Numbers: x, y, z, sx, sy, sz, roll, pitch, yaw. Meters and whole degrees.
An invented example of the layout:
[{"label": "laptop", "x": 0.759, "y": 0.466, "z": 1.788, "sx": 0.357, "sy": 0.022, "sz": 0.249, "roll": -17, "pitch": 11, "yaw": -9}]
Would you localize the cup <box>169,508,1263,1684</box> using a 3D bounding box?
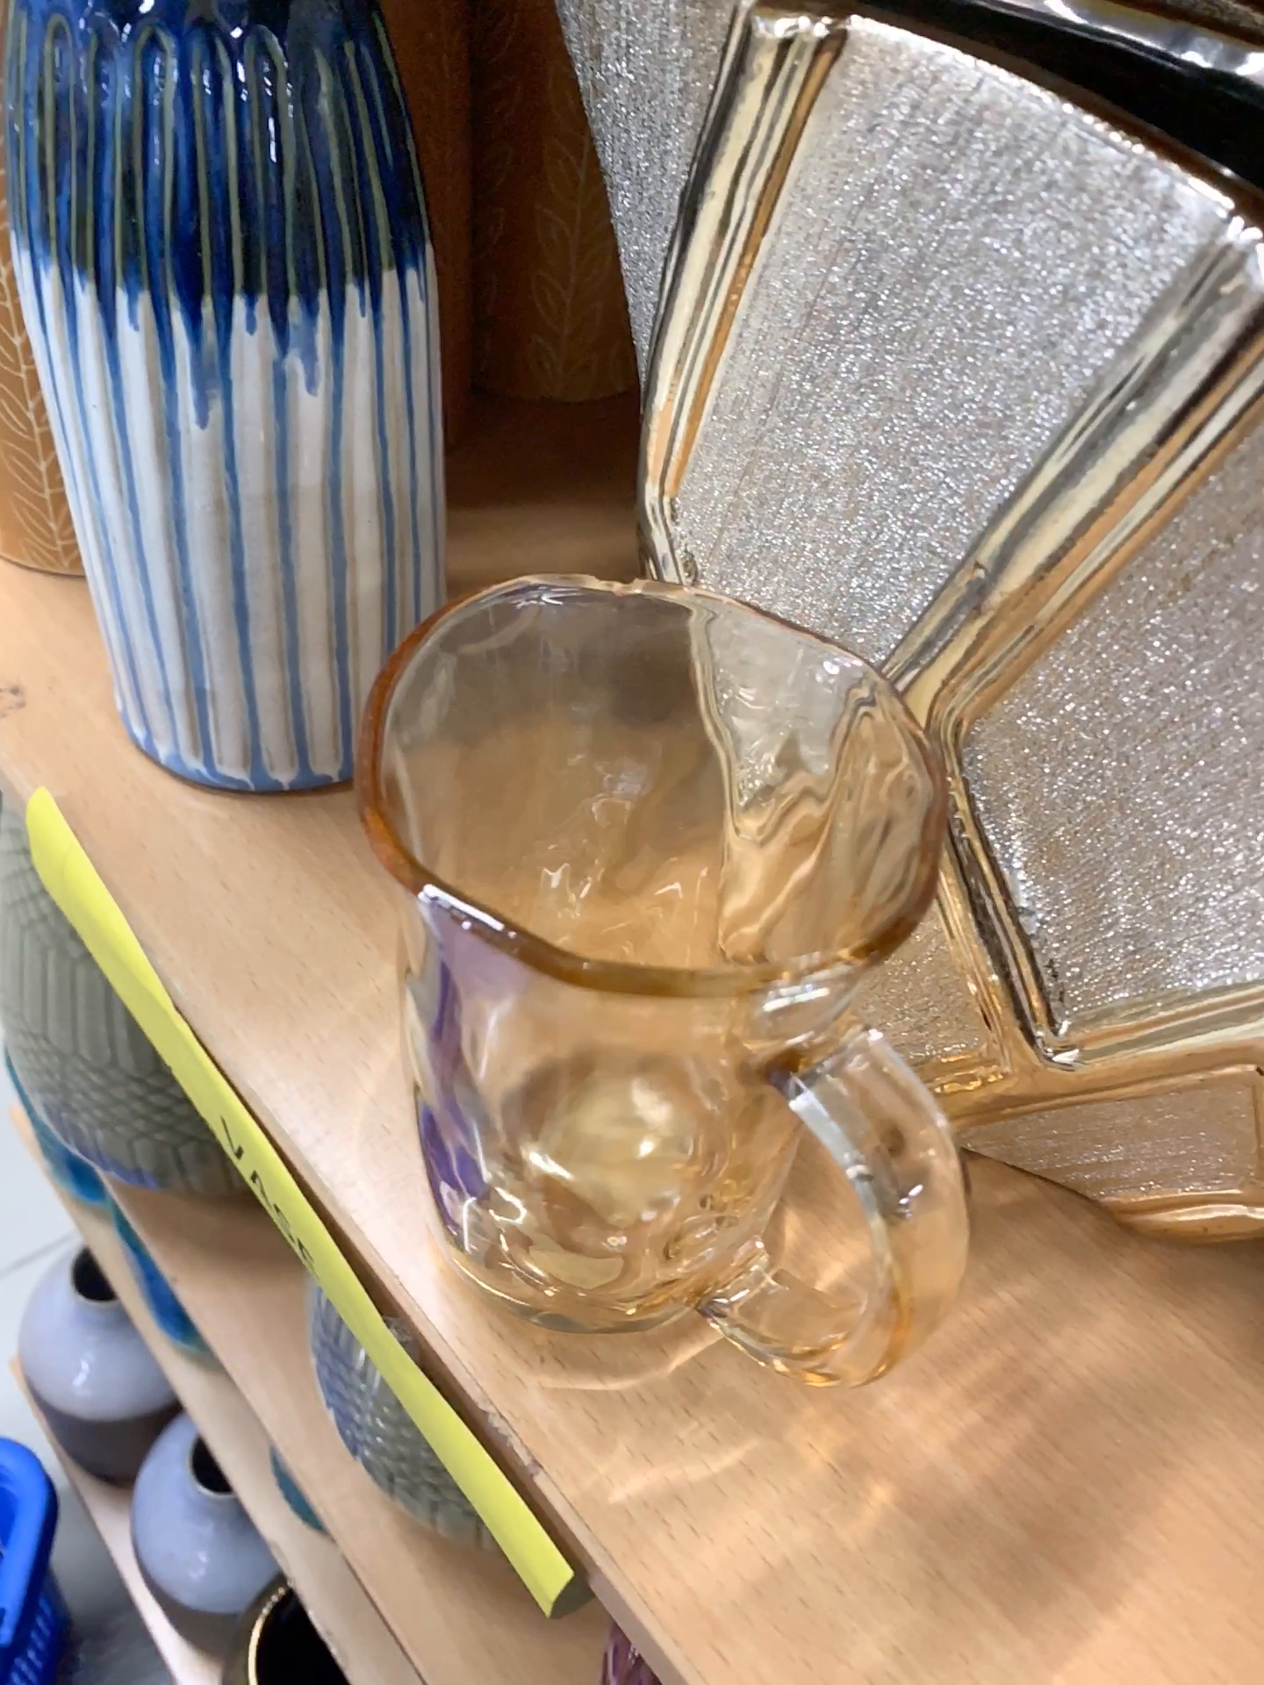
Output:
[{"label": "cup", "x": 0.003, "y": 0.032, "z": 0.190, "sx": 0.080, "sy": 0.100, "sz": 0.110, "roll": -27, "pitch": 55, "yaw": -30}]
